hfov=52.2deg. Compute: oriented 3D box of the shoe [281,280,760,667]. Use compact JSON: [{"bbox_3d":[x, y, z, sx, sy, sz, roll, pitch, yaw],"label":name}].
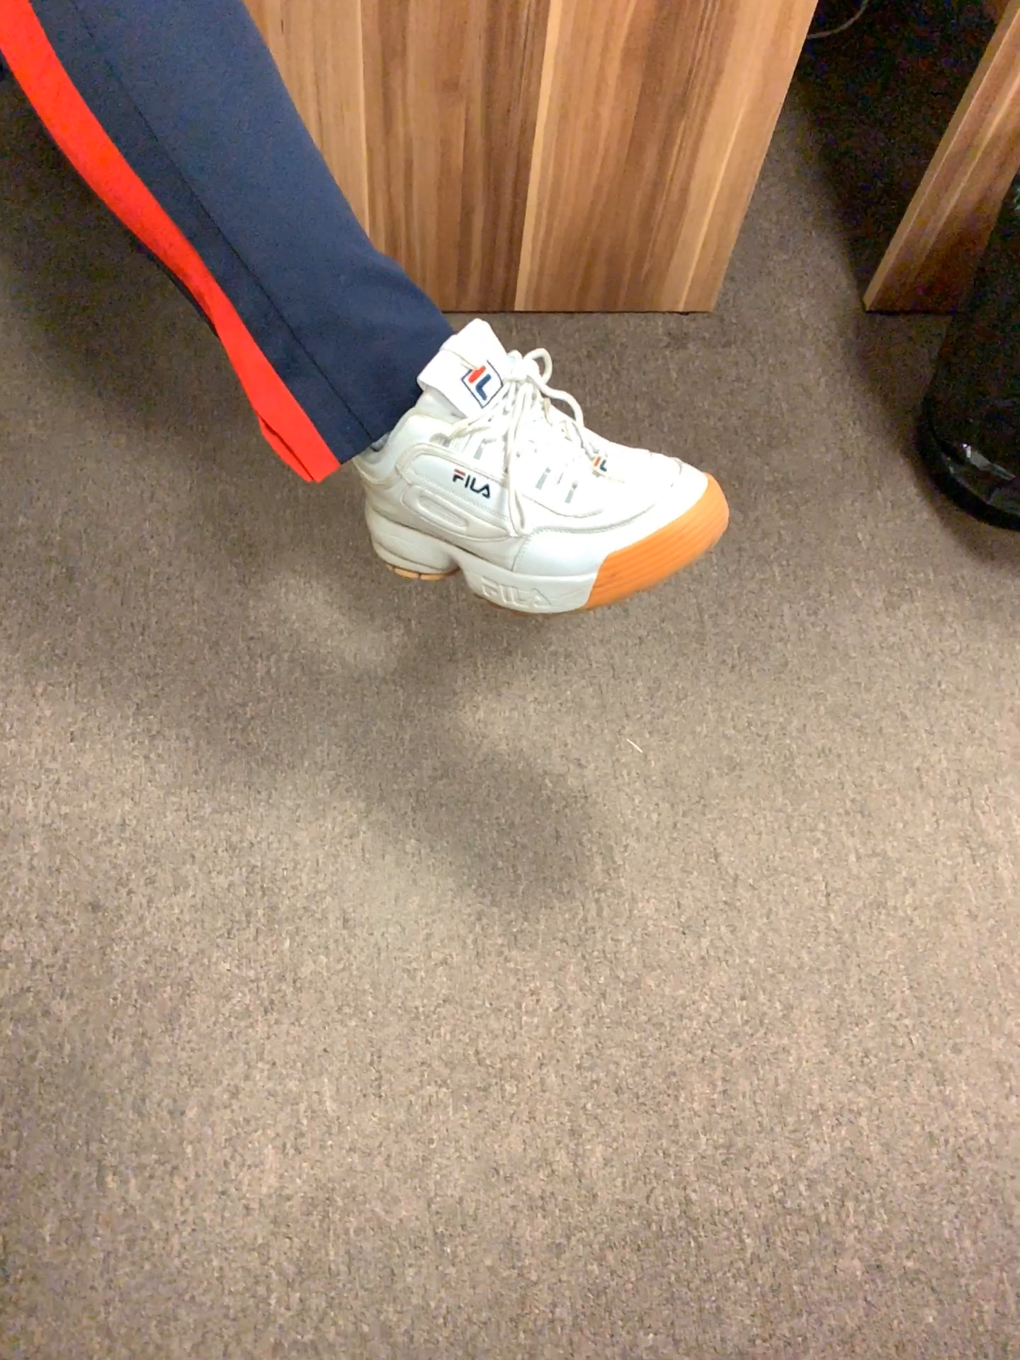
[{"bbox_3d":[0.010,-0.130,0.610,0.230,0.130,0.130,21,52,30],"label":"shoe"}]
